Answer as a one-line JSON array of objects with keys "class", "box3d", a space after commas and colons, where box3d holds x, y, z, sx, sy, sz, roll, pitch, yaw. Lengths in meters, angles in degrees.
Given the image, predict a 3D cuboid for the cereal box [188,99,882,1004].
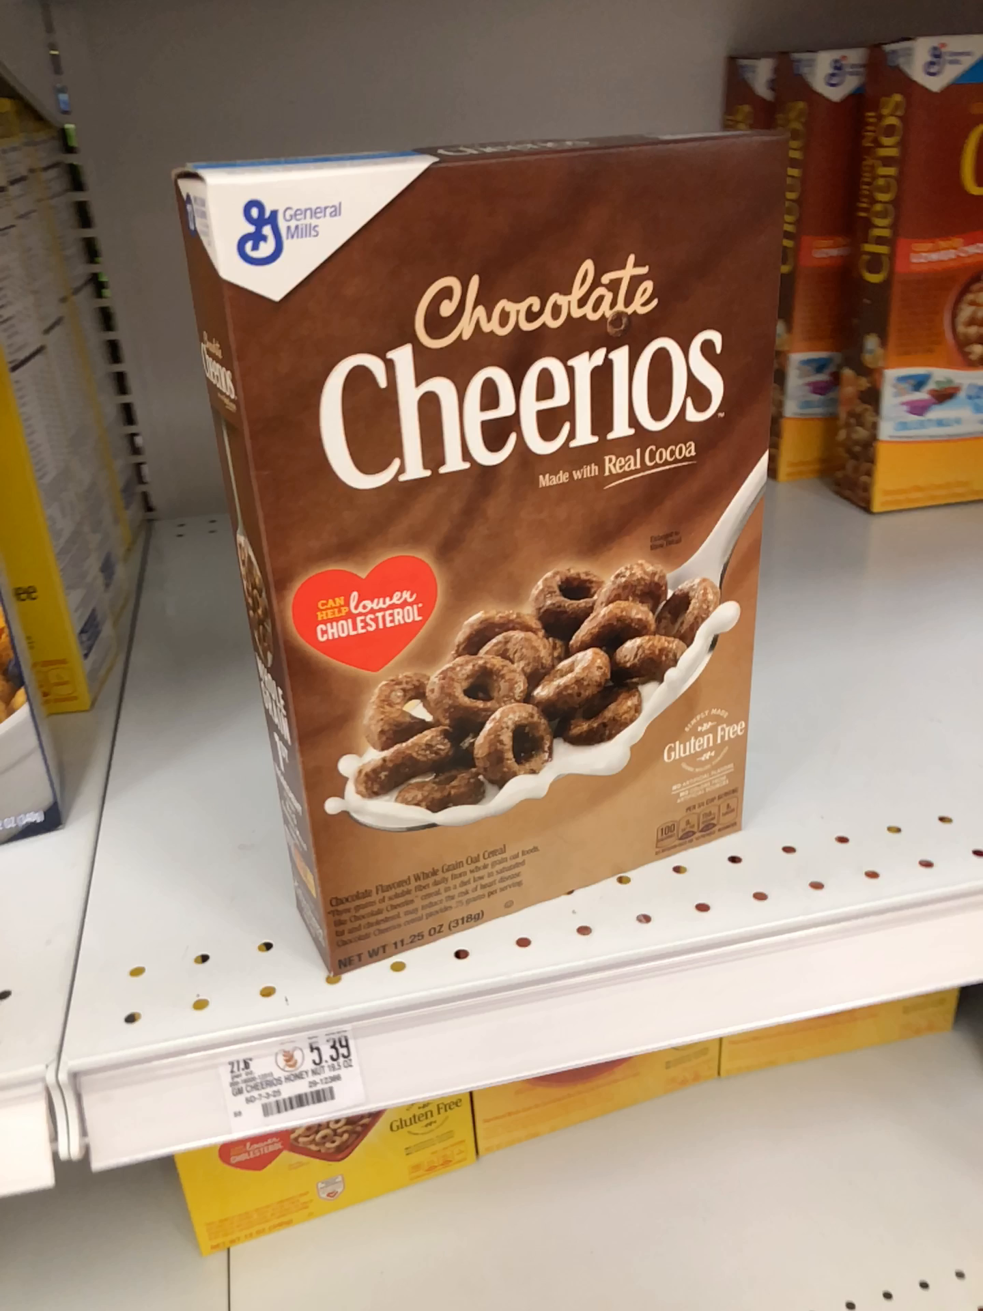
[{"class": "cereal box", "box3d": [0.023, -0.032, 0.395, 0.200, 0.289, 0.060, -15, 31, -19]}]
